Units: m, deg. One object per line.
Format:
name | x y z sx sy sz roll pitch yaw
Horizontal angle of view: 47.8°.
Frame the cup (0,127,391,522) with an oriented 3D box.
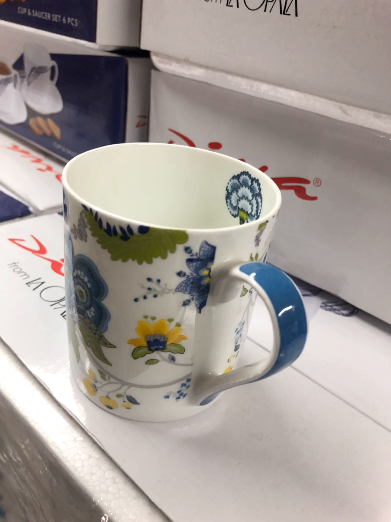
cup | -0.006 0.011 0.161 0.080 0.079 0.110 -23 43 -39
